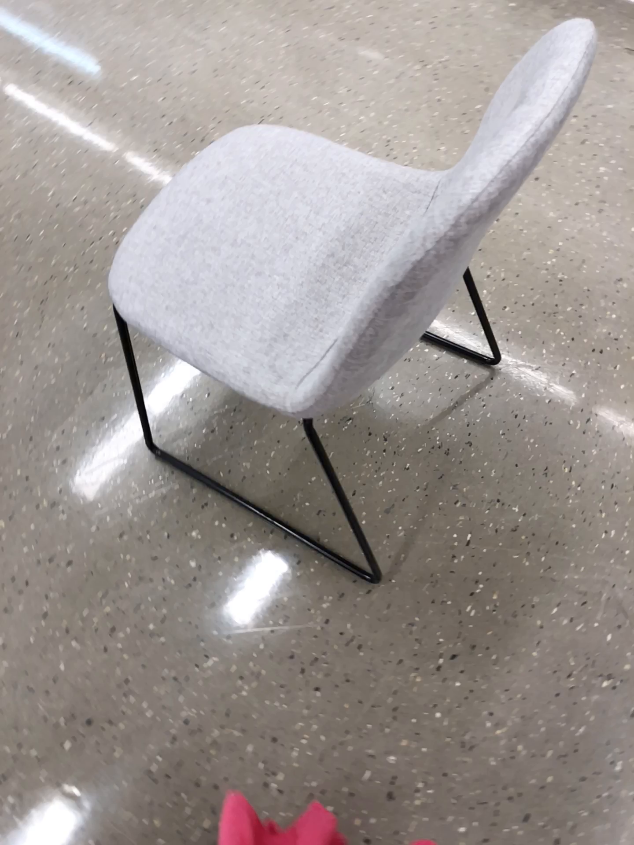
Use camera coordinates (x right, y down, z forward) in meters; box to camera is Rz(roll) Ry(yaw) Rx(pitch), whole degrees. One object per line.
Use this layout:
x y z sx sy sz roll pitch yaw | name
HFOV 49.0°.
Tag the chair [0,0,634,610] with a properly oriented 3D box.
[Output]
0.005 -0.228 0.979 0.581 0.779 0.590 28 67 16 | chair
